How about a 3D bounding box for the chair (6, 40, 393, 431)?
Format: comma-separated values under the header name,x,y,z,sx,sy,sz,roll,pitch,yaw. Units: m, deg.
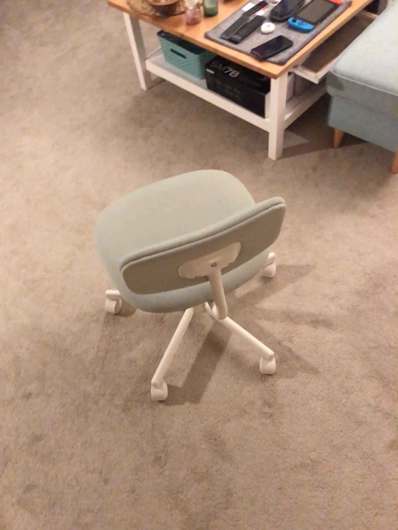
name,x,y,z,sx,sy,sz,roll,pitch,yaw
chair,-0.030,-0.048,1.203,0.660,0.677,0.643,-18,57,-5
